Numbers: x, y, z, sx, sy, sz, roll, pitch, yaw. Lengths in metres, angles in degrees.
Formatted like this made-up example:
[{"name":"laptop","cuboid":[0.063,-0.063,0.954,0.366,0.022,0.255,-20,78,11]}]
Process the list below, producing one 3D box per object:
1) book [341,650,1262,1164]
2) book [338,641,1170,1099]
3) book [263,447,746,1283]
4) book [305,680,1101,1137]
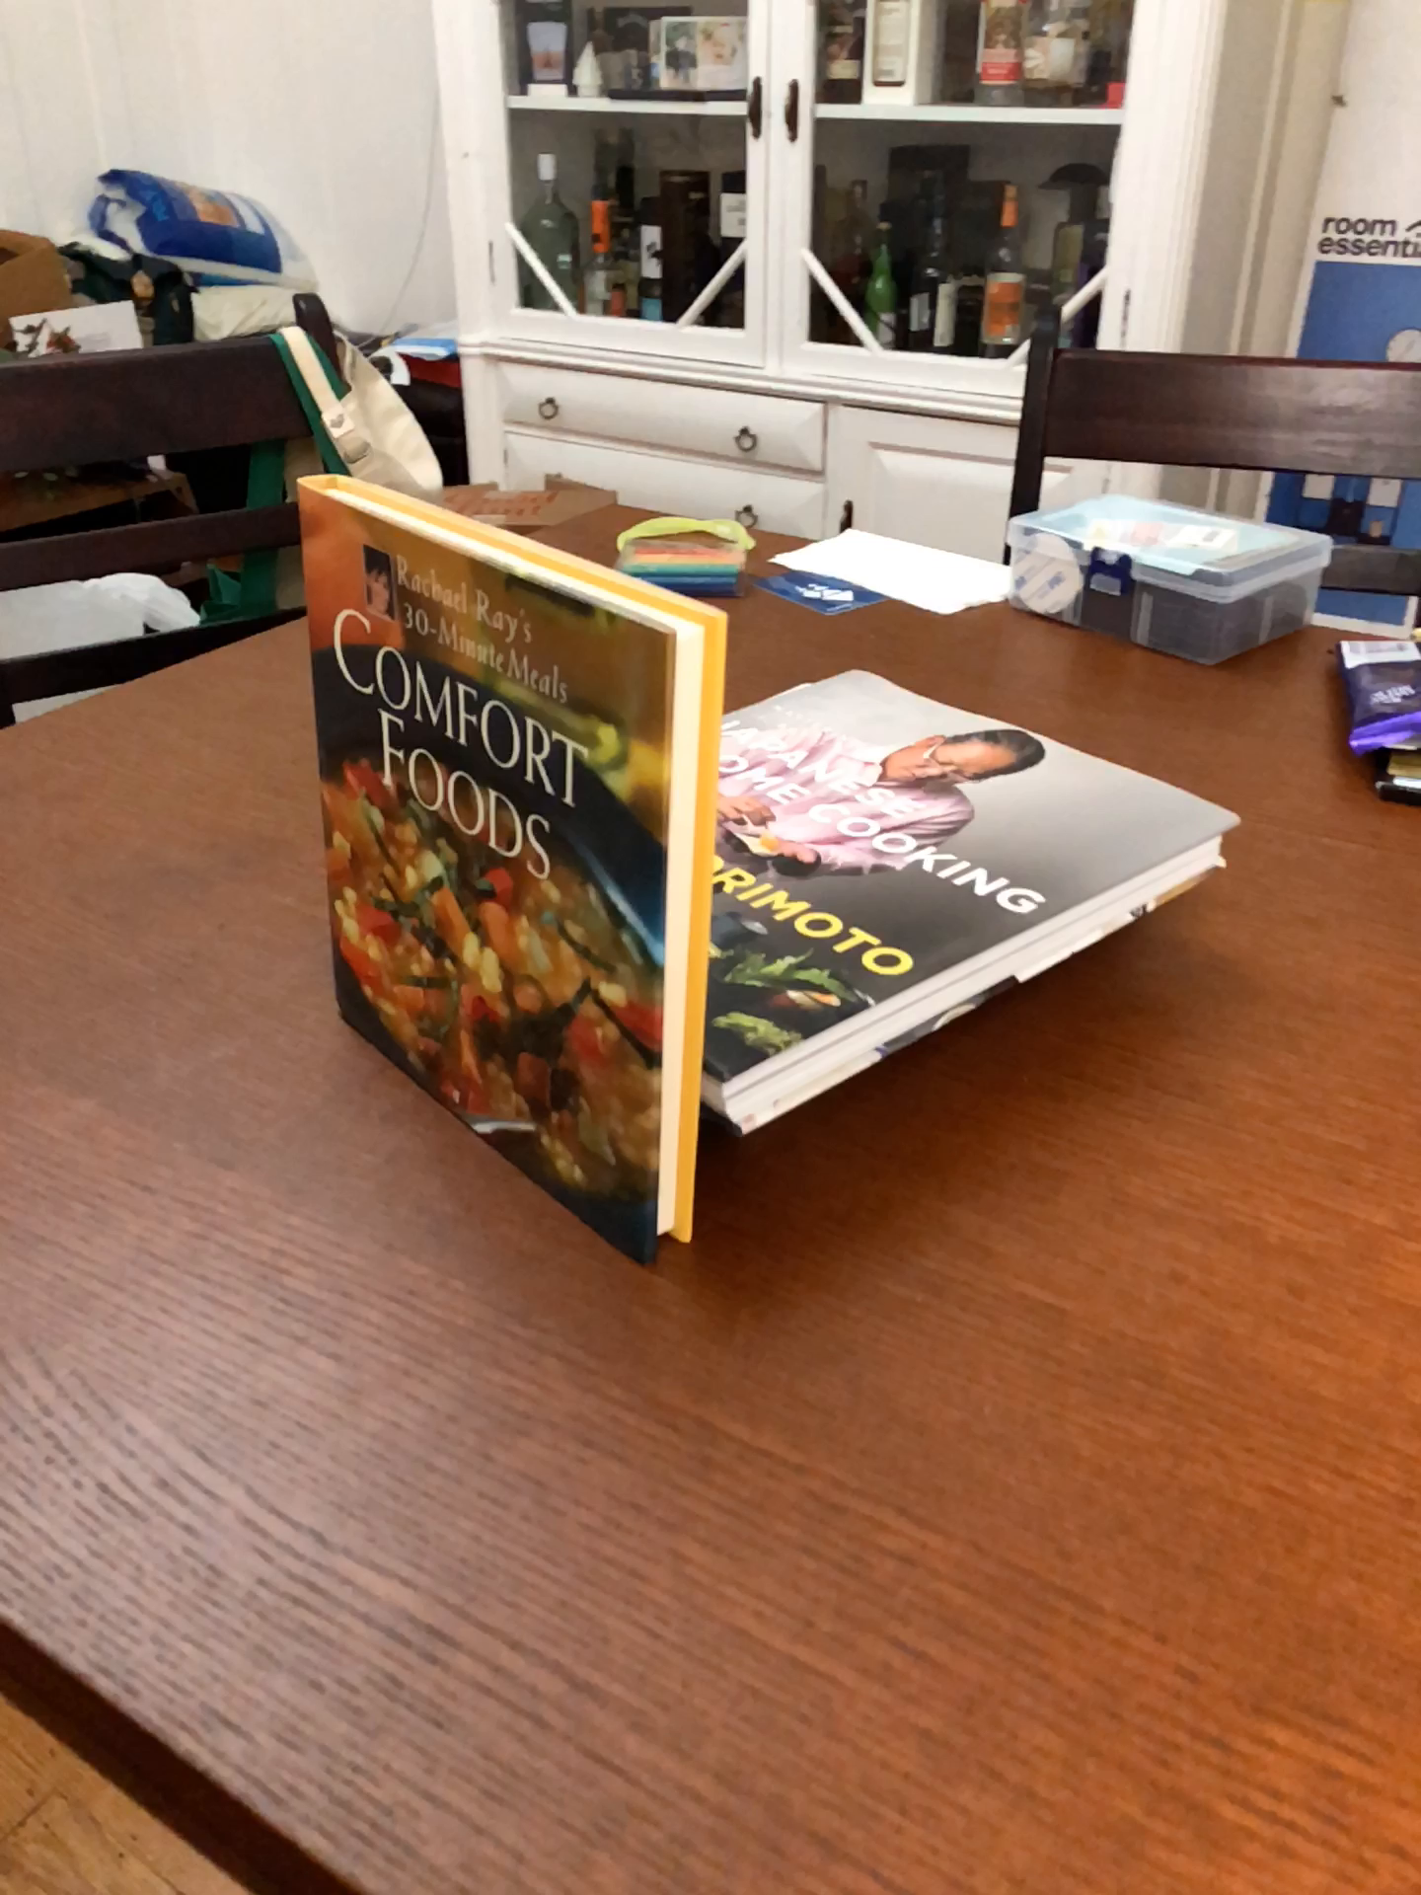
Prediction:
[{"name":"book","cuboid":[0.038,-0.040,0.606,0.281,0.030,0.221,-26,38,-35]},{"name":"book","cuboid":[0.025,-0.054,0.662,0.221,0.030,0.281,24,39,36]},{"name":"book","cuboid":[-0.074,-0.034,0.508,0.030,0.209,0.211,-20,37,-35]},{"name":"book","cuboid":[0.004,-0.039,0.690,0.221,0.030,0.281,23,38,34]}]
